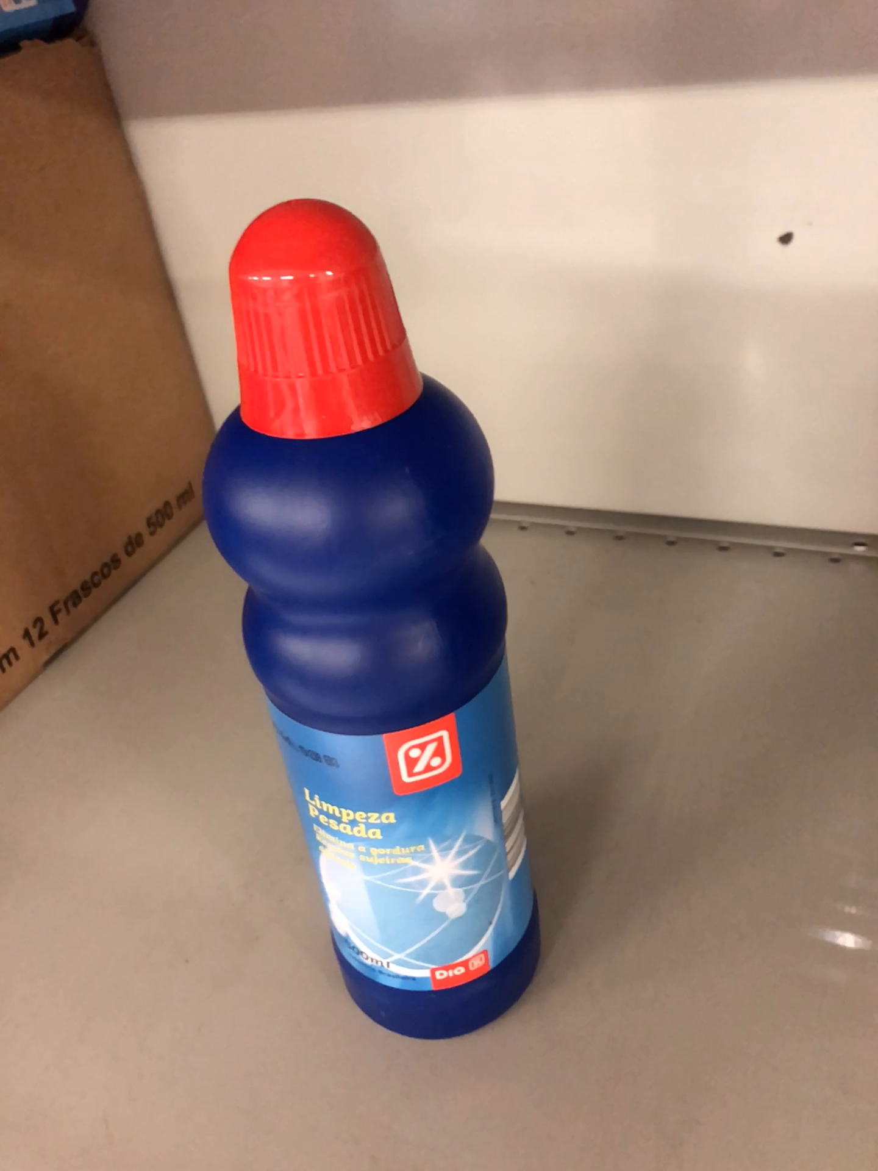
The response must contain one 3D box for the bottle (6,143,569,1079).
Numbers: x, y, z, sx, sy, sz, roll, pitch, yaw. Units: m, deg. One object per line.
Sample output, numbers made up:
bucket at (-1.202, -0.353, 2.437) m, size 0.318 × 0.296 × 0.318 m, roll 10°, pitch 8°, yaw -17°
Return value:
bottle at (-0.014, 0.025, 0.251) m, size 0.070 × 0.238 × 0.071 m, roll -7°, pitch 36°, yaw 5°
